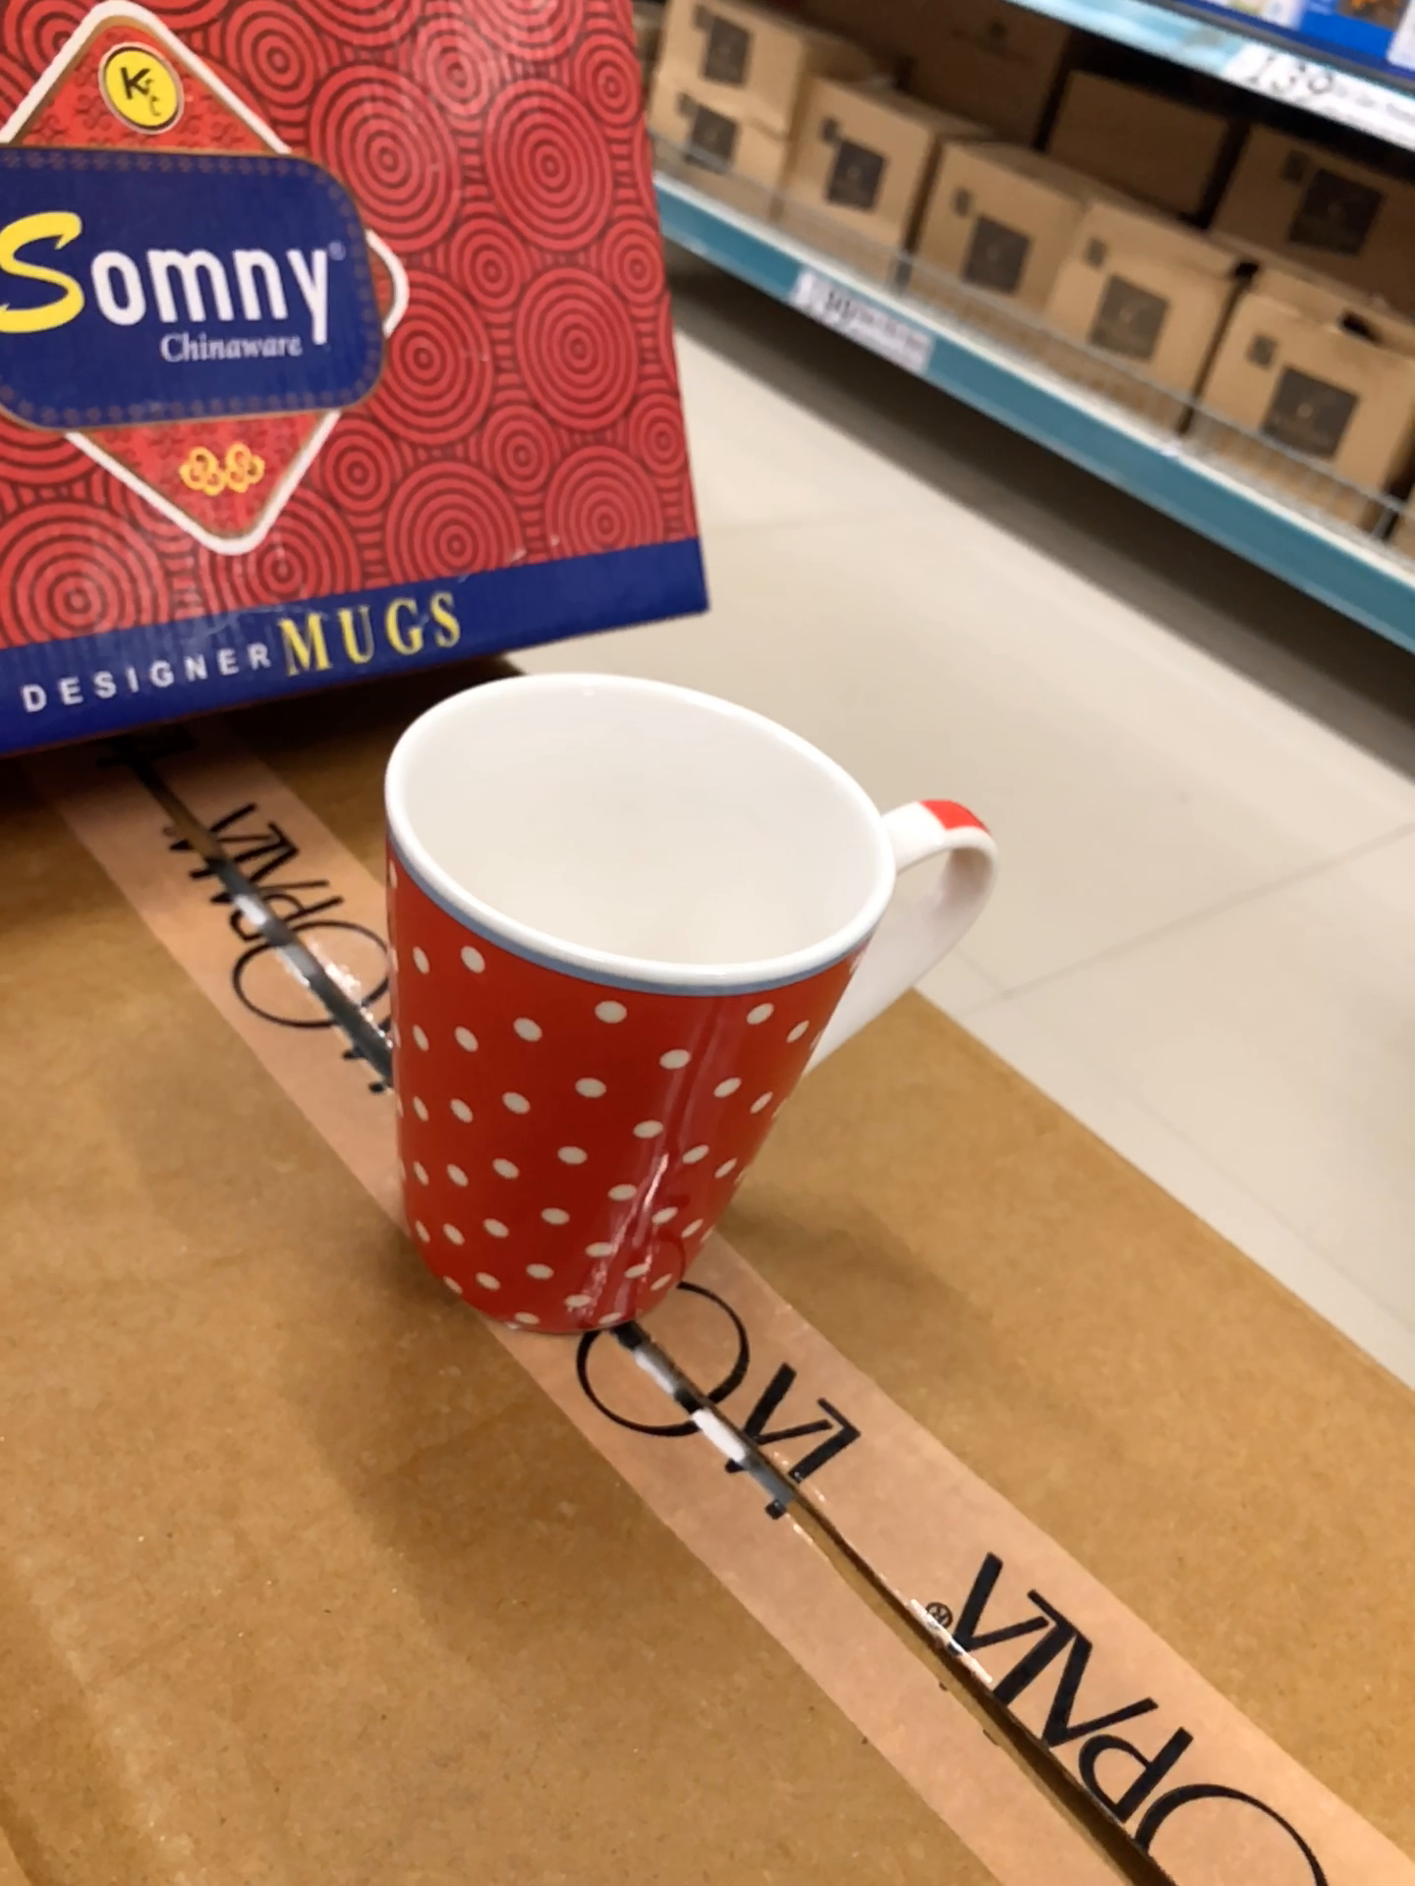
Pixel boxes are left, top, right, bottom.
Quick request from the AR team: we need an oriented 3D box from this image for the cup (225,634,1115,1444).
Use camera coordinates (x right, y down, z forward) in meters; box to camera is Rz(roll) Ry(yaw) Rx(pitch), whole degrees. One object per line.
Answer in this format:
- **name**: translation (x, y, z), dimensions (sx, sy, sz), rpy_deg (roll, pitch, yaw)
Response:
- **cup**: translation (-0.011, 0.009, 0.284), dimensions (0.121, 0.089, 0.080), rpy_deg (-14, 45, -34)
